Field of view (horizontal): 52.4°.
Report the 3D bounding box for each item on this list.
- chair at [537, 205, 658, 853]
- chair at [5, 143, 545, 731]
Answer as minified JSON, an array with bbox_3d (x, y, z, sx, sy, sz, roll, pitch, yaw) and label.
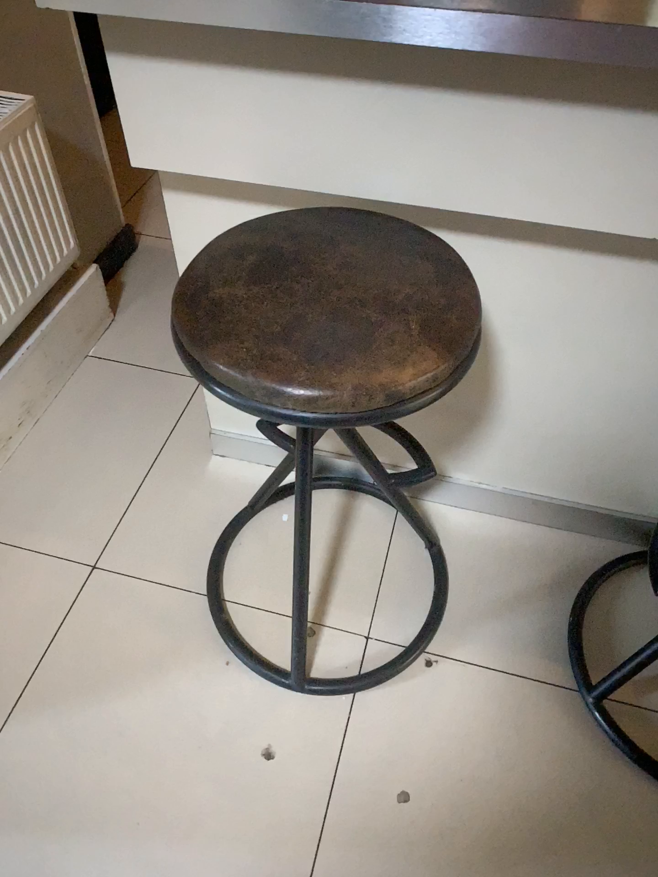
[{"bbox_3d":[0.680,0.160,0.980,0.549,0.727,0.530,10,49,9],"label":"chair"},{"bbox_3d":[-0.014,0.019,1.115,0.549,0.727,0.550,10,49,9],"label":"chair"}]
